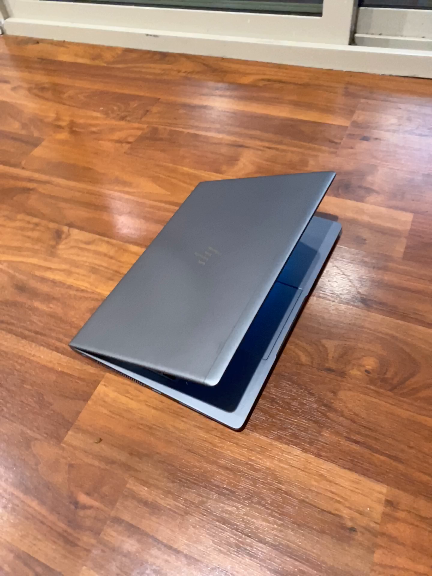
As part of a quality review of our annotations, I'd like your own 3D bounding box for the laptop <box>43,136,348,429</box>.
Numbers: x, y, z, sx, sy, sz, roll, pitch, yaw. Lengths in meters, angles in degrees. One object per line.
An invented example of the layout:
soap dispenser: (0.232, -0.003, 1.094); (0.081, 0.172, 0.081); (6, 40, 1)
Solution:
laptop: (-0.006, -0.036, 0.545); (0.230, 0.078, 0.325); (21, 58, 20)
